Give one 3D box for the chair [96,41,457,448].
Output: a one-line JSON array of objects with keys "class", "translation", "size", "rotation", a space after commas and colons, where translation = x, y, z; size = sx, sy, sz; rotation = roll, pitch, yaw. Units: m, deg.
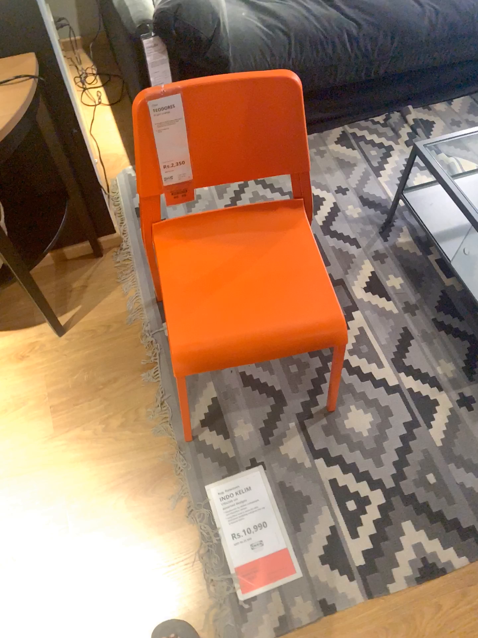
[{"class": "chair", "translation": [0.029, -0.116, 1.170], "size": [0.510, 0.738, 0.541], "rotation": [-11, 59, -6]}]
